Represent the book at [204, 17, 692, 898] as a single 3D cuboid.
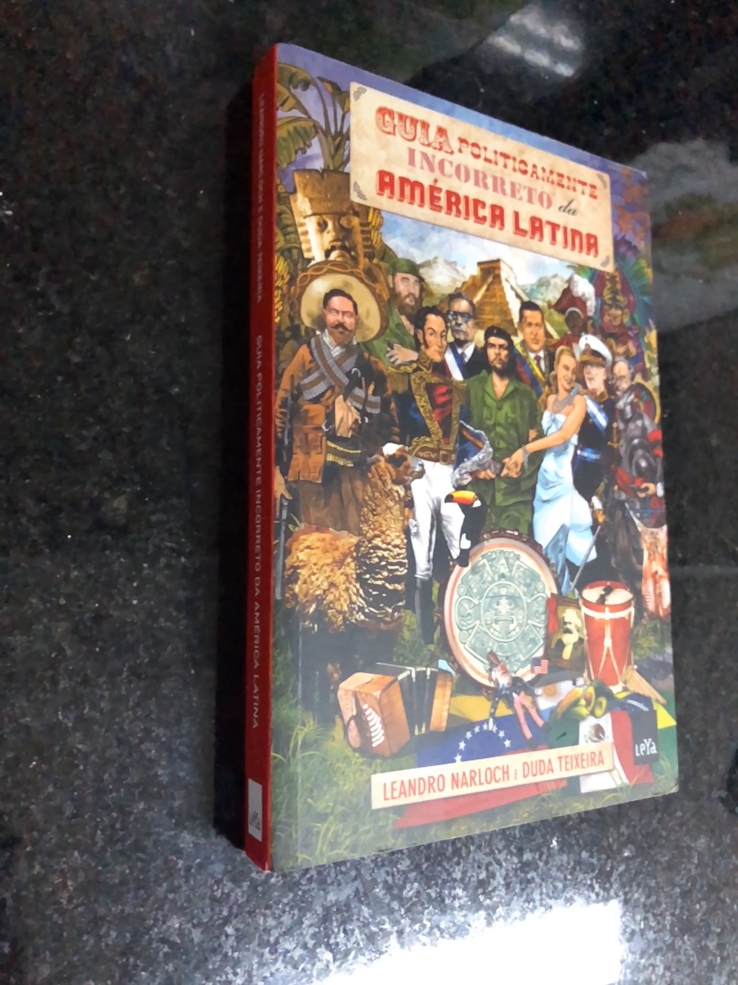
[{"bbox_3d":[0.028,-0.010,0.258,0.150,0.040,0.220,3,81,-31],"label":"book"}]
